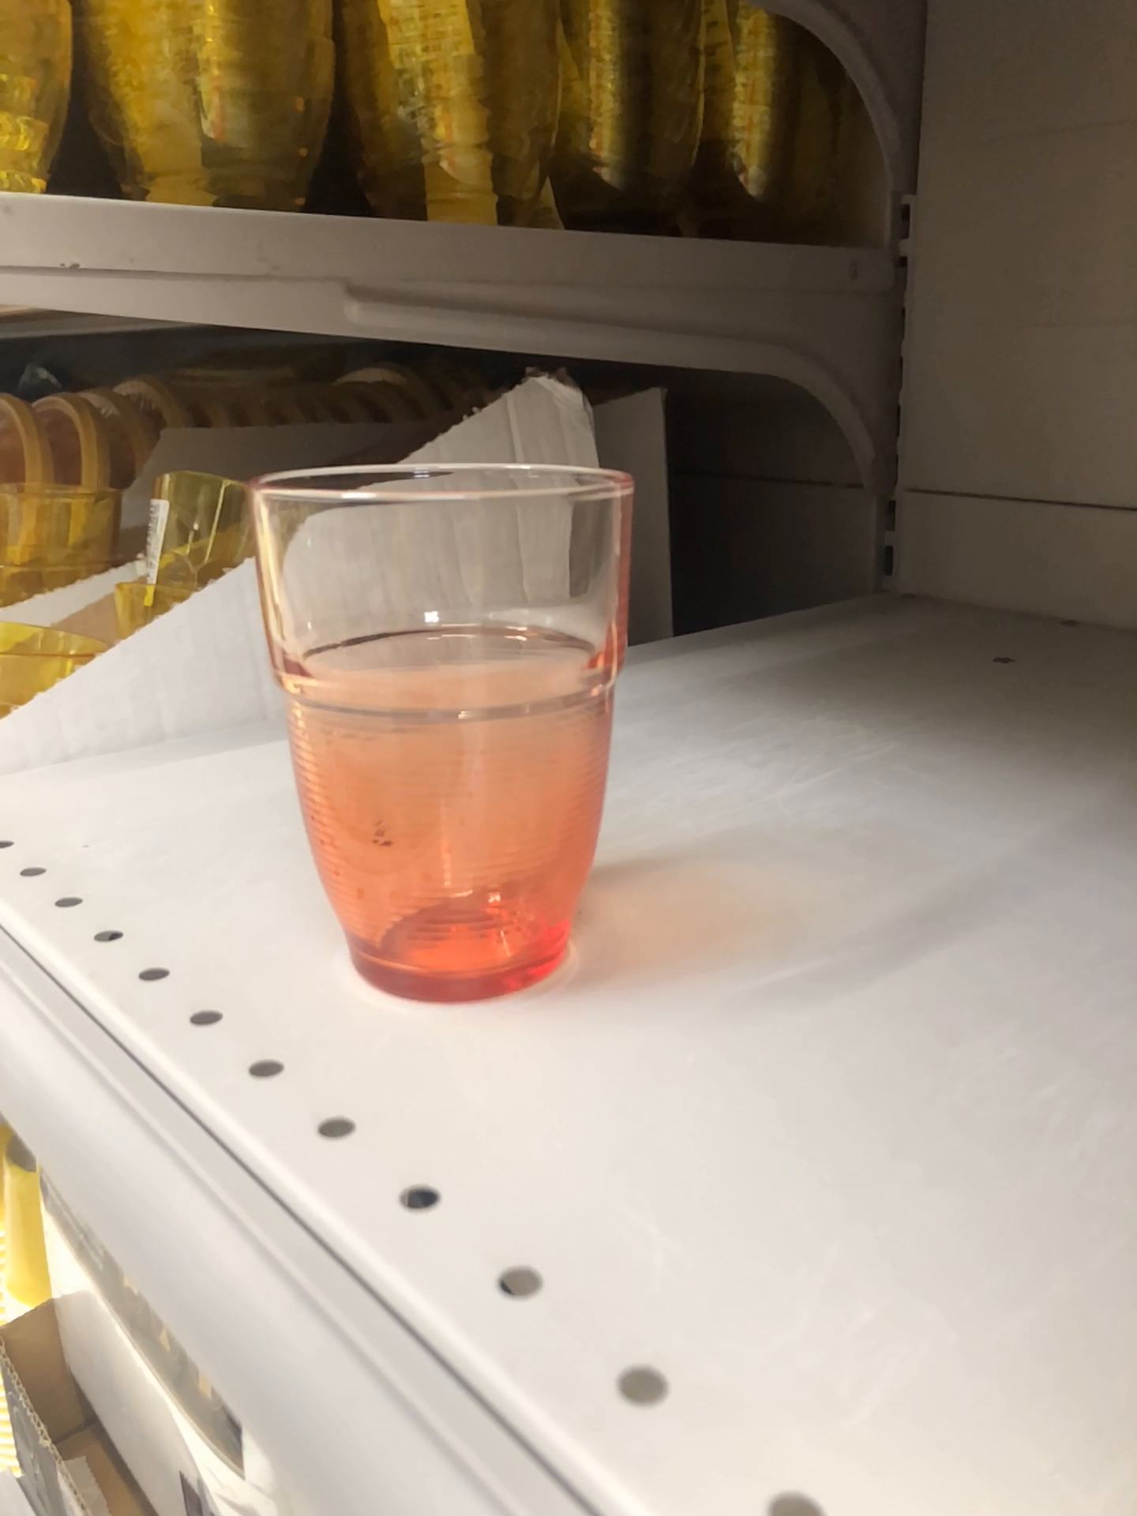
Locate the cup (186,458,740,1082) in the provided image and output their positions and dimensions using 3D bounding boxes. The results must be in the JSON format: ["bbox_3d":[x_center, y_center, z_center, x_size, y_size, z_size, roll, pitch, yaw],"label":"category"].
[{"bbox_3d":[-0.017,-0.006,0.256,0.080,0.100,0.075,1,17,0],"label":"cup"}]
